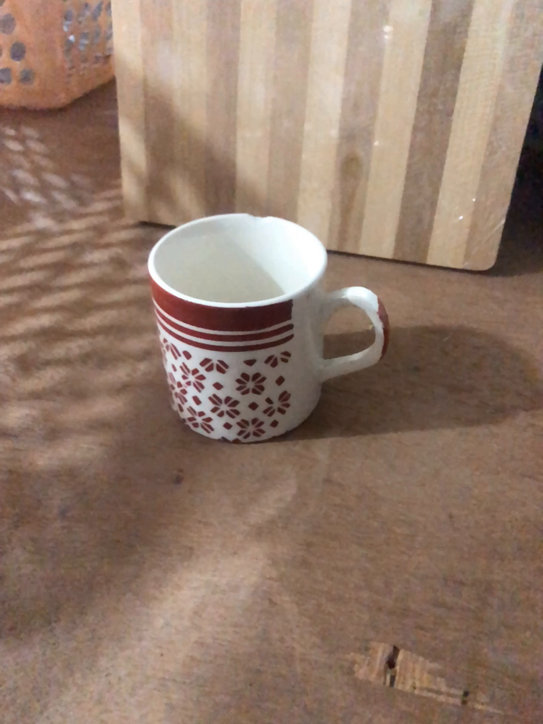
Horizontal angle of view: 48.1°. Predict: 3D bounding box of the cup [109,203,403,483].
[{"bbox_3d":[0.000,-0.008,0.231,0.090,0.080,0.060,5,41,8],"label":"cup"}]
